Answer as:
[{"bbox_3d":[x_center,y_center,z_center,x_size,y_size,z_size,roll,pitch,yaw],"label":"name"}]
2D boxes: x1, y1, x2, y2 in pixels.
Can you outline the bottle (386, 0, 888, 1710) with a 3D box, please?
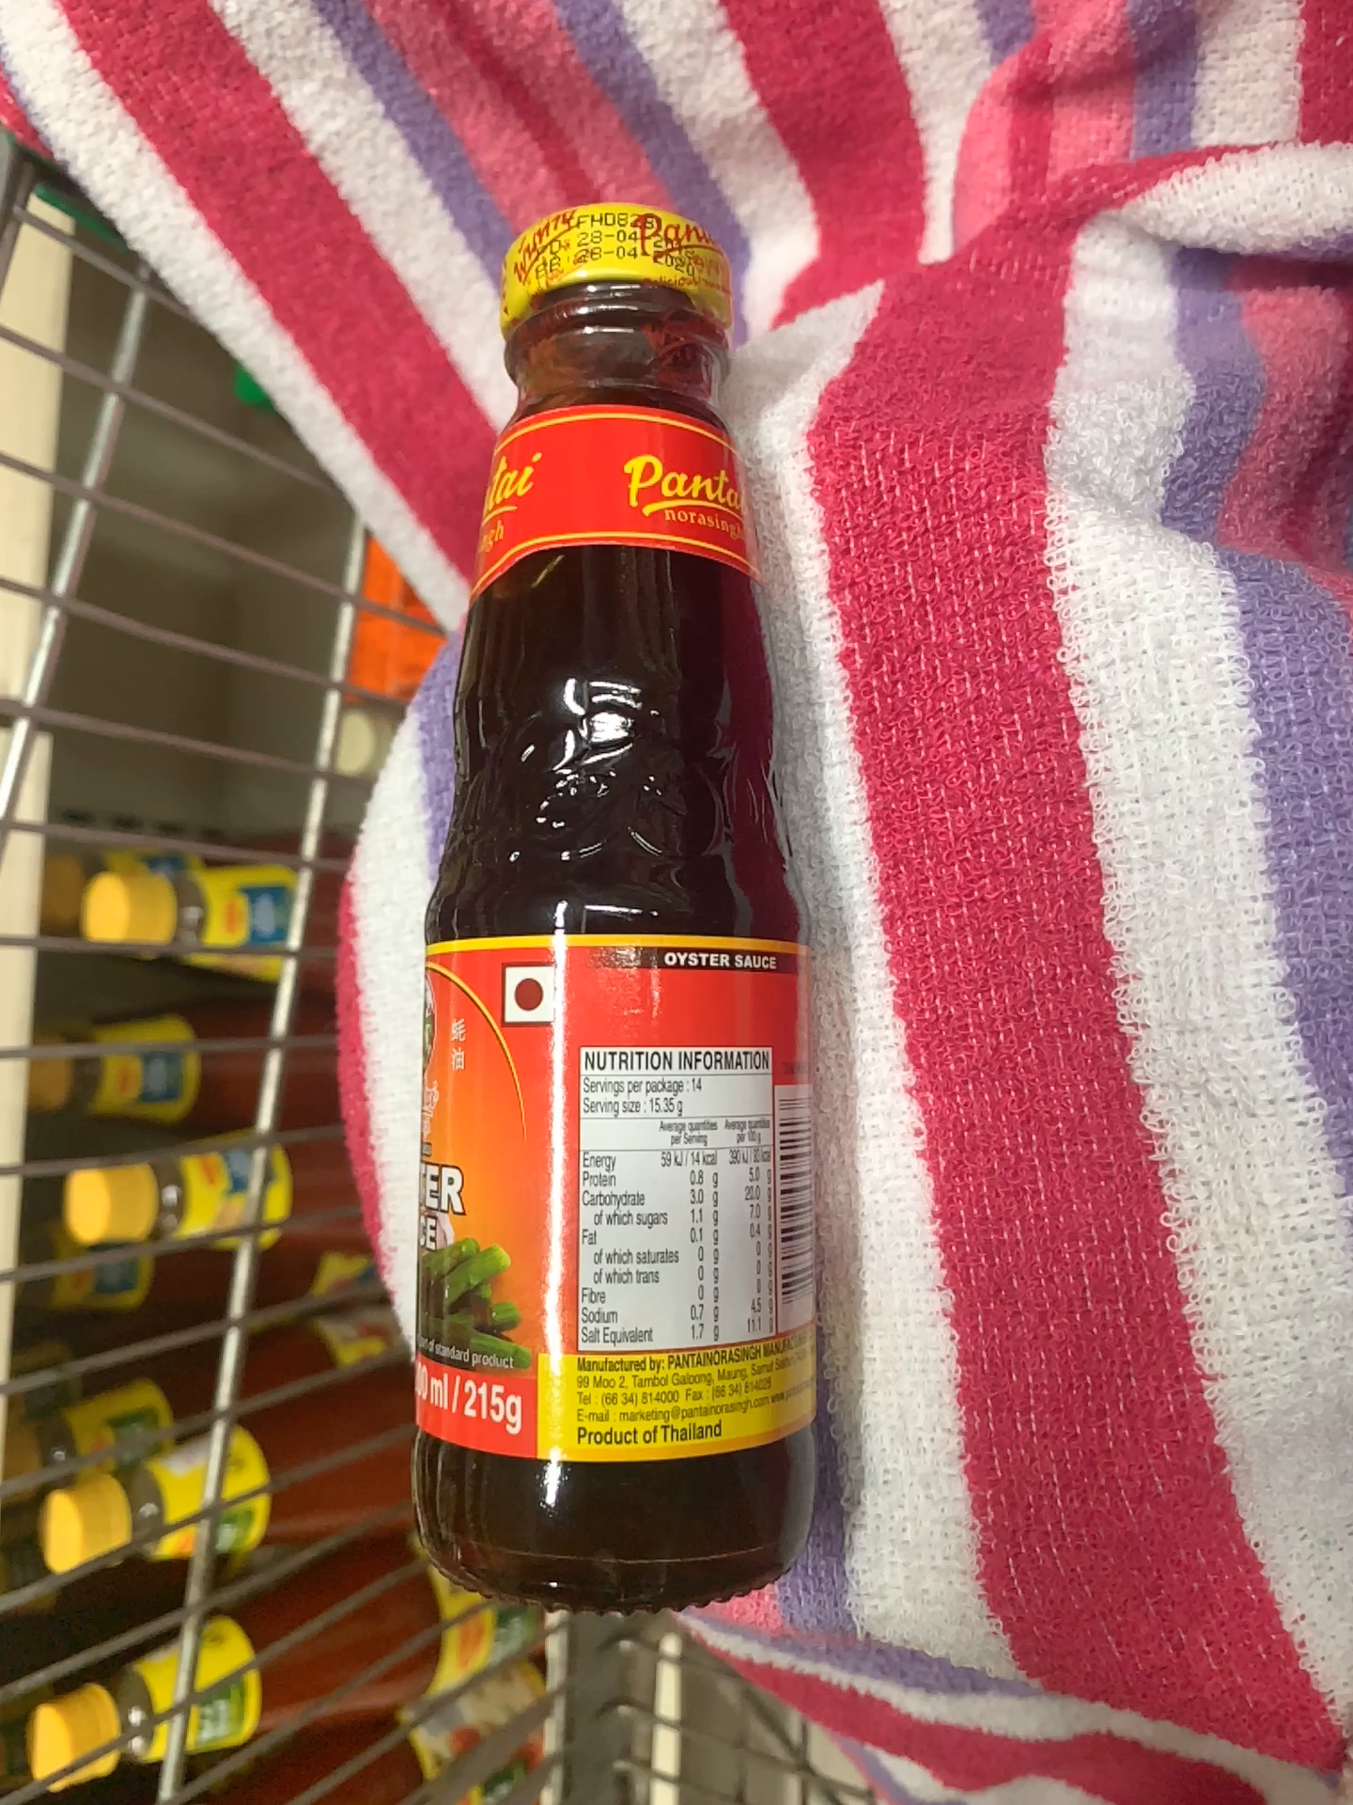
[{"bbox_3d":[-0.006,-0.009,0.184,0.050,0.050,0.190,159,113,-73],"label":"bottle"}]
